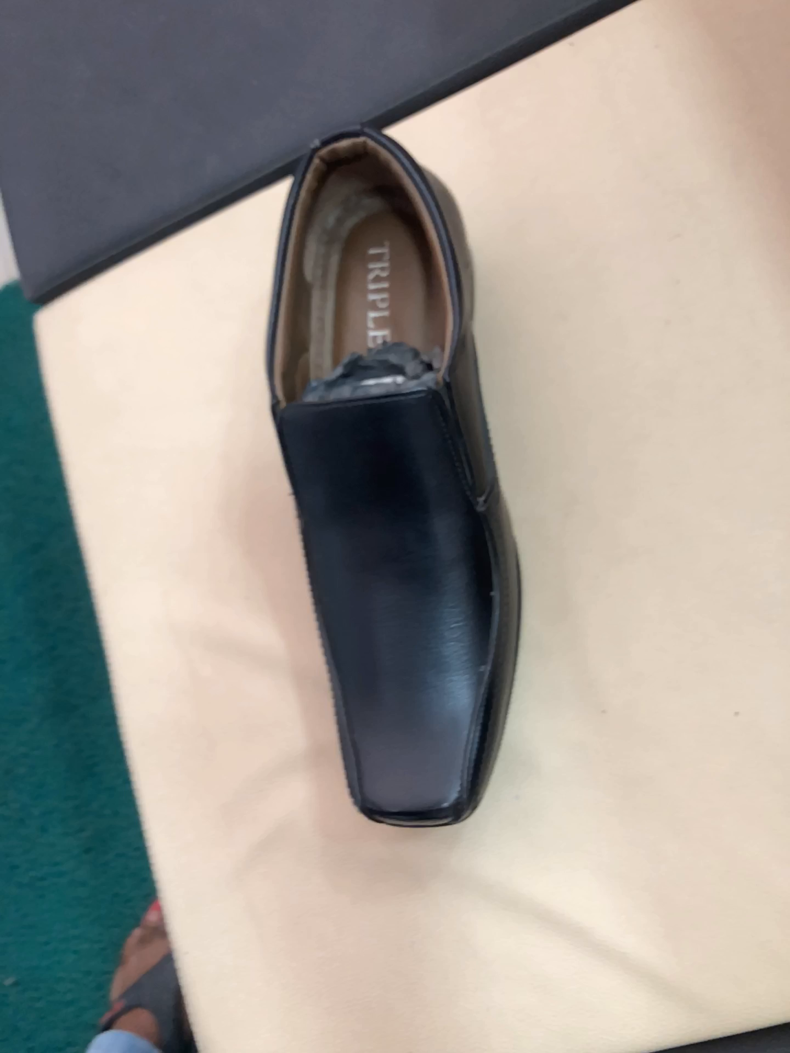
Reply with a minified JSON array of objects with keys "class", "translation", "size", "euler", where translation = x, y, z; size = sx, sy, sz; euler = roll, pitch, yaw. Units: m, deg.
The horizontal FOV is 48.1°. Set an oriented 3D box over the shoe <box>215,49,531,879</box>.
[{"class":"shoe","translation":[-0.008,-0.023,0.382],"size":[0.090,0.100,0.310],"euler":[-7,80,17]}]
